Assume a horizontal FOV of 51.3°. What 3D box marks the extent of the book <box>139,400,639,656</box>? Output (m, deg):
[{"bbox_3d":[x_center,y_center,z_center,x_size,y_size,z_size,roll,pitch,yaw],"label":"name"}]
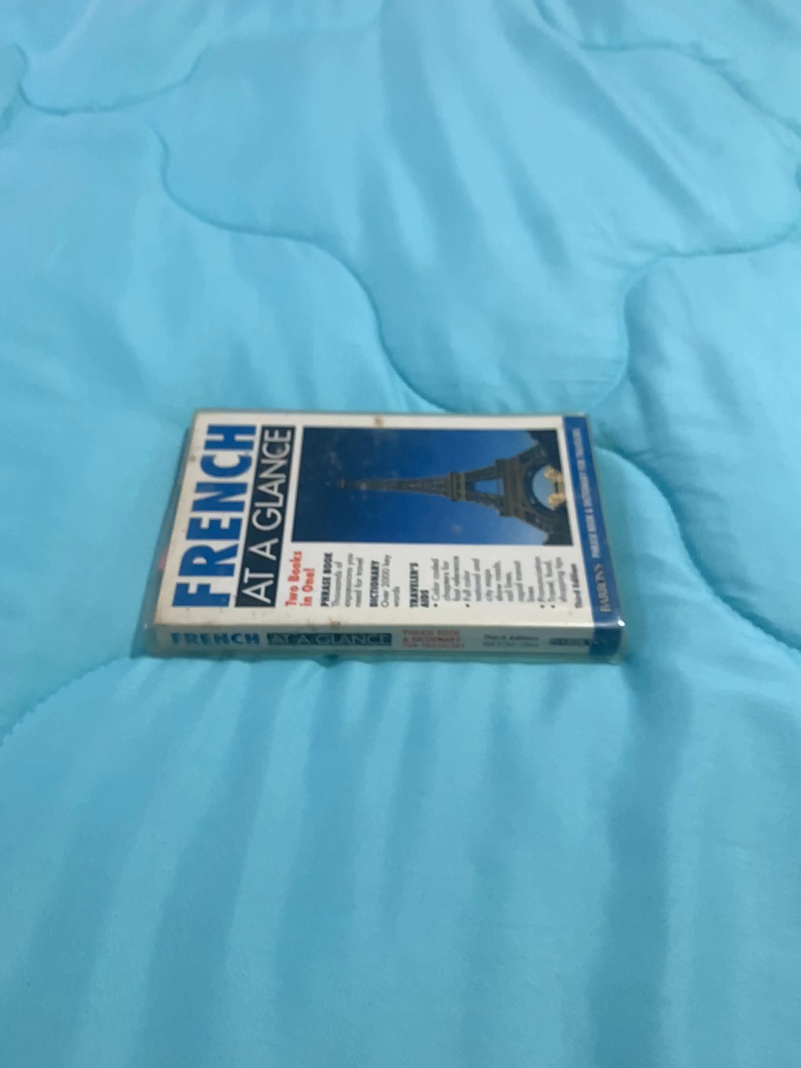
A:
[{"bbox_3d":[-0.004,-0.006,0.293,0.154,0.017,0.099,0,53,-1],"label":"book"}]
